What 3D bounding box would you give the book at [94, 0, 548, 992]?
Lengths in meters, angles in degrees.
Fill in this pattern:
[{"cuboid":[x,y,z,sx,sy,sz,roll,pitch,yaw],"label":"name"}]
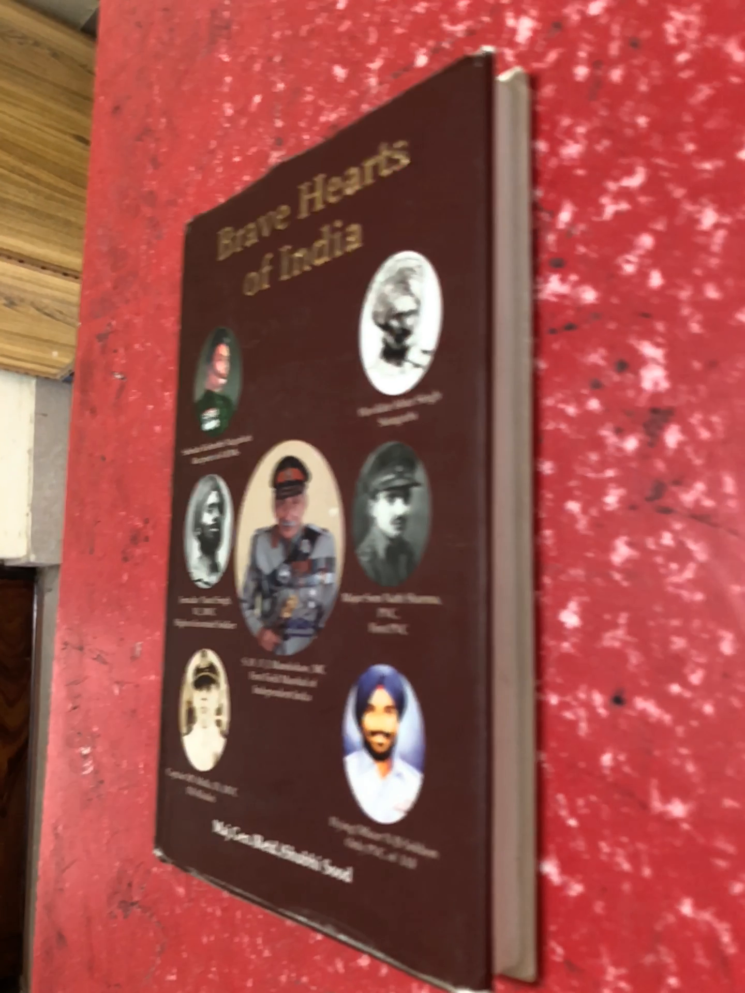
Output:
[{"cuboid":[-0.023,-0.001,0.234,0.151,0.030,0.220,-8,78,46],"label":"book"}]
